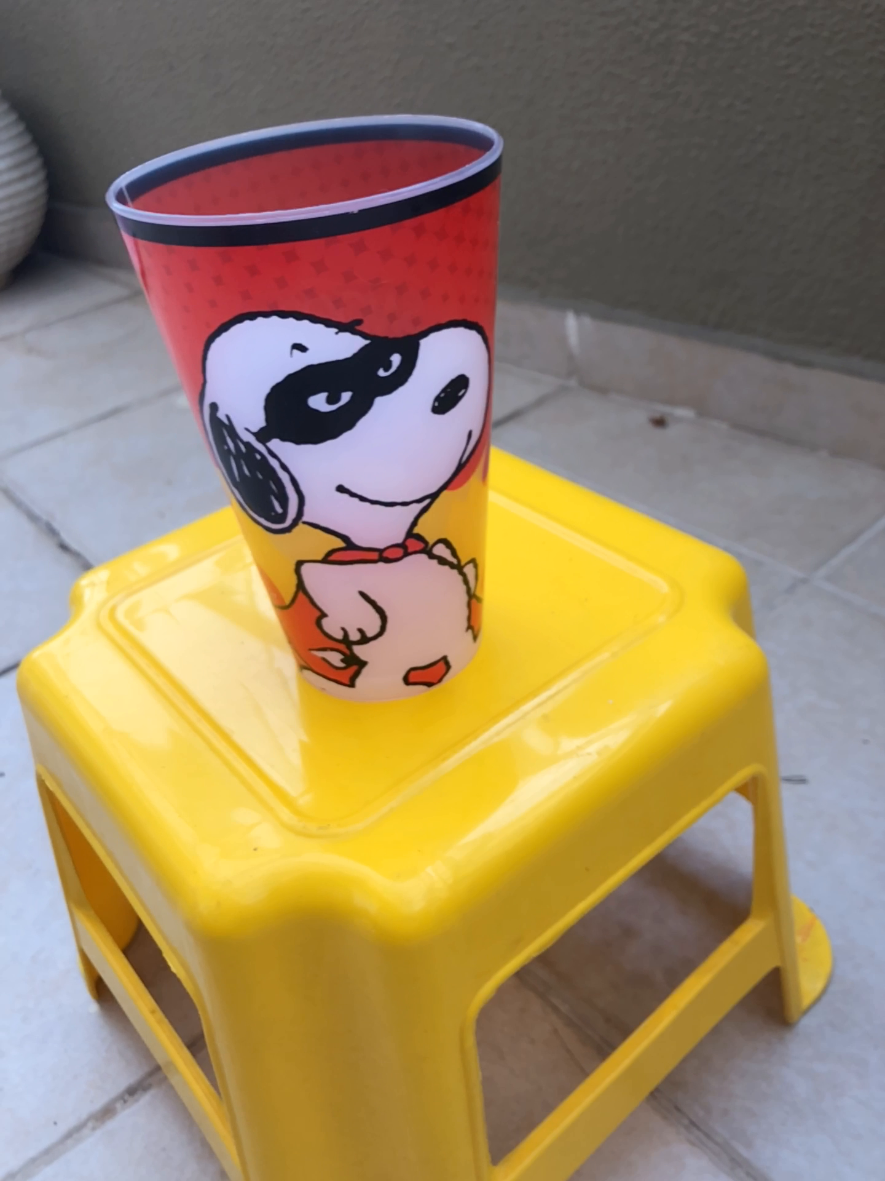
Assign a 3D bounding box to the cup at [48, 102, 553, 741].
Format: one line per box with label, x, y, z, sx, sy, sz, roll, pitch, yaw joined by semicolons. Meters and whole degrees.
cup;-0.031;-0.052;0.293;0.100;0.139;0.111;-9;35;-1
